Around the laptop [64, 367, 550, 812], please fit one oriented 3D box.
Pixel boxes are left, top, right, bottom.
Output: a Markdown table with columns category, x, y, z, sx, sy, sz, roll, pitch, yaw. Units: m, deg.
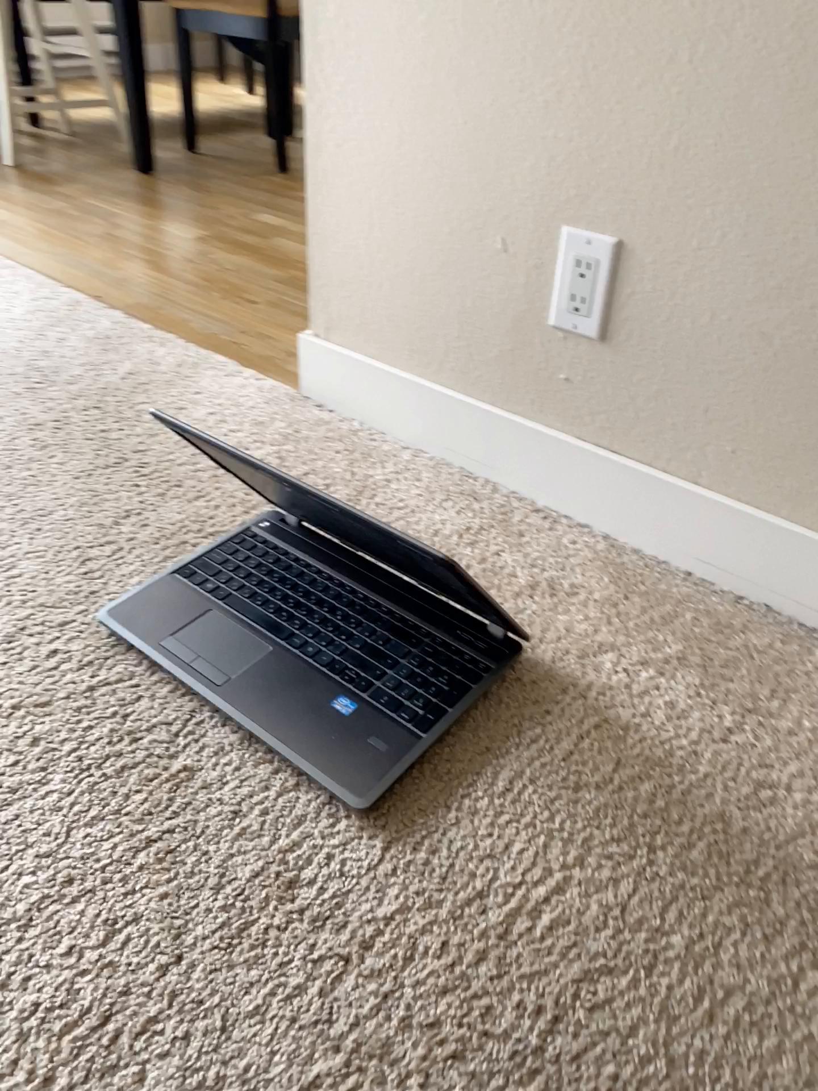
| category | x | y | z | sx | sy | sz | roll | pitch | yaw |
| --- | --- | --- | --- | --- | --- | --- | --- | --- | --- |
| laptop | -0.100 | 0.012 | 0.805 | 0.371 | 0.189 | 0.249 | 27 | 43 | 29 |
